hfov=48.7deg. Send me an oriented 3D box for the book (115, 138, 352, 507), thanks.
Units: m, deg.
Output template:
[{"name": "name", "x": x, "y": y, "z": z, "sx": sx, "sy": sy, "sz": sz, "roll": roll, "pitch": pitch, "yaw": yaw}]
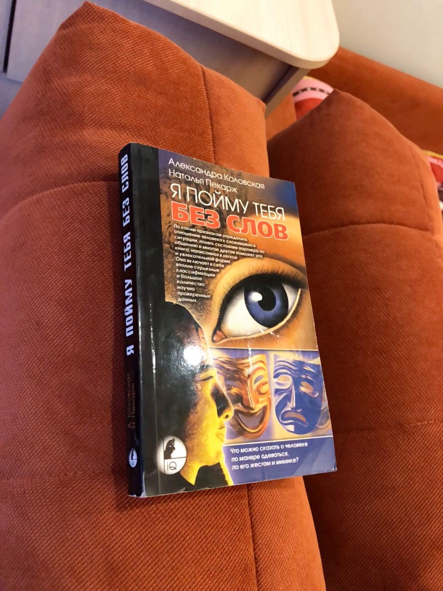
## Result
[{"name": "book", "x": 0.005, "y": 0.012, "z": 0.291, "sx": 0.129, "sy": 0.030, "sz": 0.190, "roll": 5, "pitch": 71, "yaw": -30}]
